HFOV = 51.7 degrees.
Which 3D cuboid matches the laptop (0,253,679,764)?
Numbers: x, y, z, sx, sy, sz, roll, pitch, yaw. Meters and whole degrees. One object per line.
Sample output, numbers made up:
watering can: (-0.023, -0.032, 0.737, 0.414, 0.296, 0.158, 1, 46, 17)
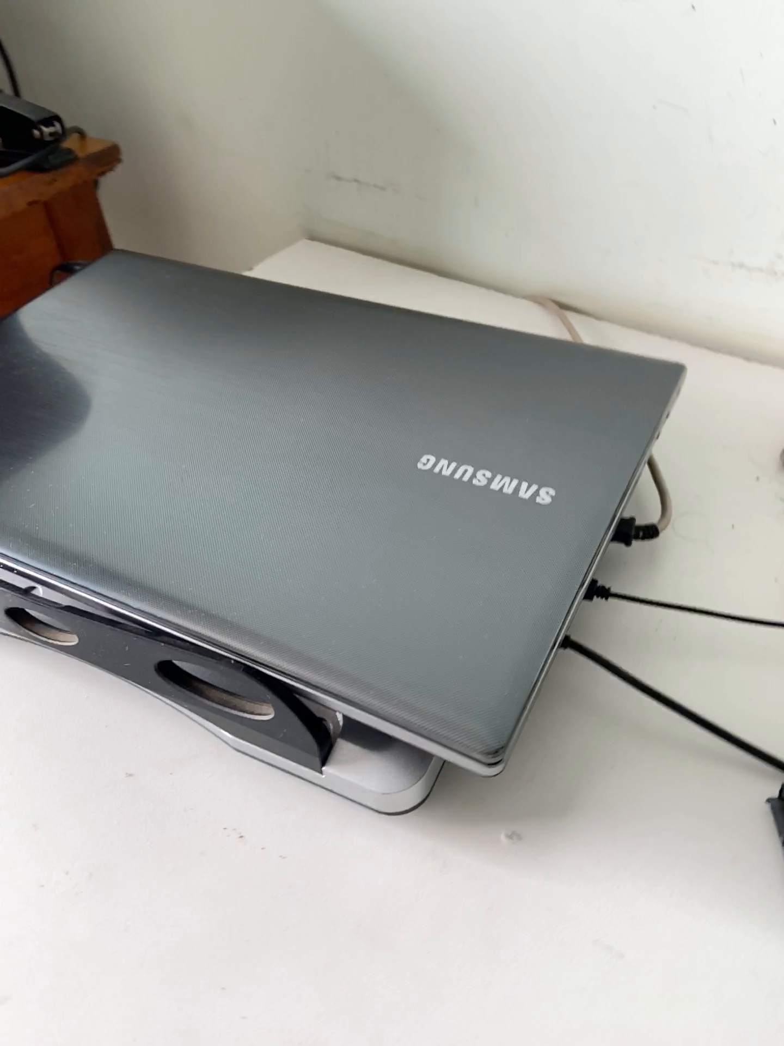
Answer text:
laptop: (-0.078, -0.053, 0.397, 0.373, 0.005, 0.237, 17, 48, 23)
